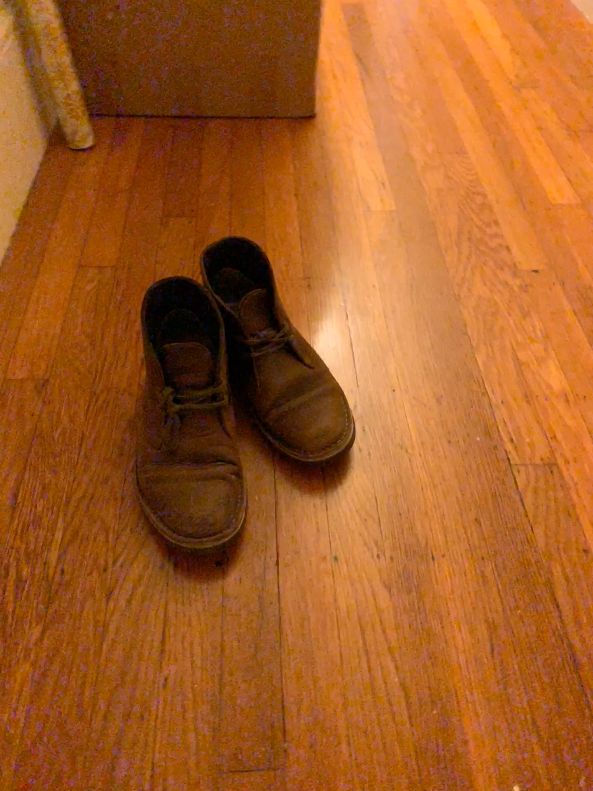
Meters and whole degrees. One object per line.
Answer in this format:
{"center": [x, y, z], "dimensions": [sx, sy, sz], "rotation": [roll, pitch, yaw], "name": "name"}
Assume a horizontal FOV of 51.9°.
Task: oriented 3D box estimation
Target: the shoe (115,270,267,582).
{"center": [-0.112, 0.018, 0.621], "dimensions": [0.120, 0.119, 0.291], "rotation": [-7, 51, -8], "name": "shoe"}

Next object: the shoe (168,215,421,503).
{"center": [-0.016, -0.053, 0.672], "dimensions": [0.120, 0.119, 0.301], "rotation": [-25, 56, -21], "name": "shoe"}
